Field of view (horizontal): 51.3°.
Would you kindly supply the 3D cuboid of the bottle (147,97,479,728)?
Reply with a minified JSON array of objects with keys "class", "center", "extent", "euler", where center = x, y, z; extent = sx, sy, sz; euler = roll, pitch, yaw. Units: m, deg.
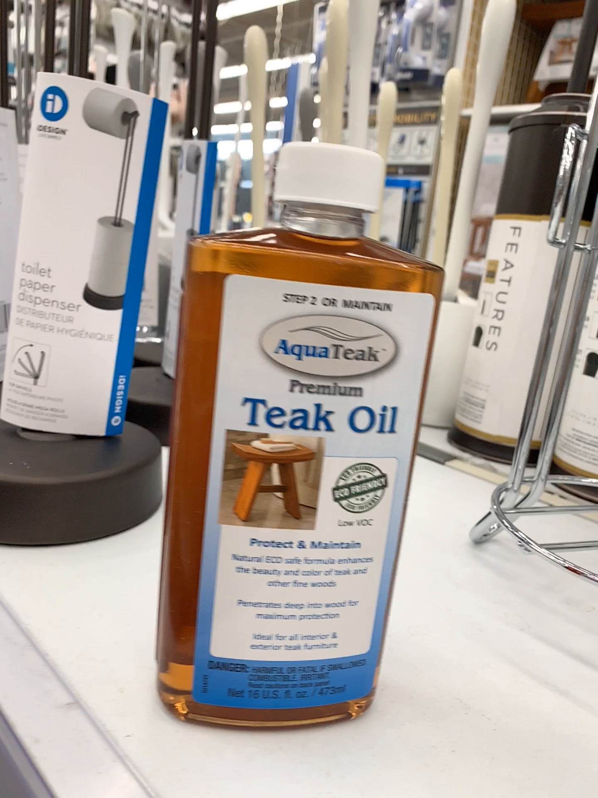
[{"class":"bottle","center":[-0.004,0.013,0.227],"extent":[0.088,0.207,0.046],"euler":[4,14,-11]}]
